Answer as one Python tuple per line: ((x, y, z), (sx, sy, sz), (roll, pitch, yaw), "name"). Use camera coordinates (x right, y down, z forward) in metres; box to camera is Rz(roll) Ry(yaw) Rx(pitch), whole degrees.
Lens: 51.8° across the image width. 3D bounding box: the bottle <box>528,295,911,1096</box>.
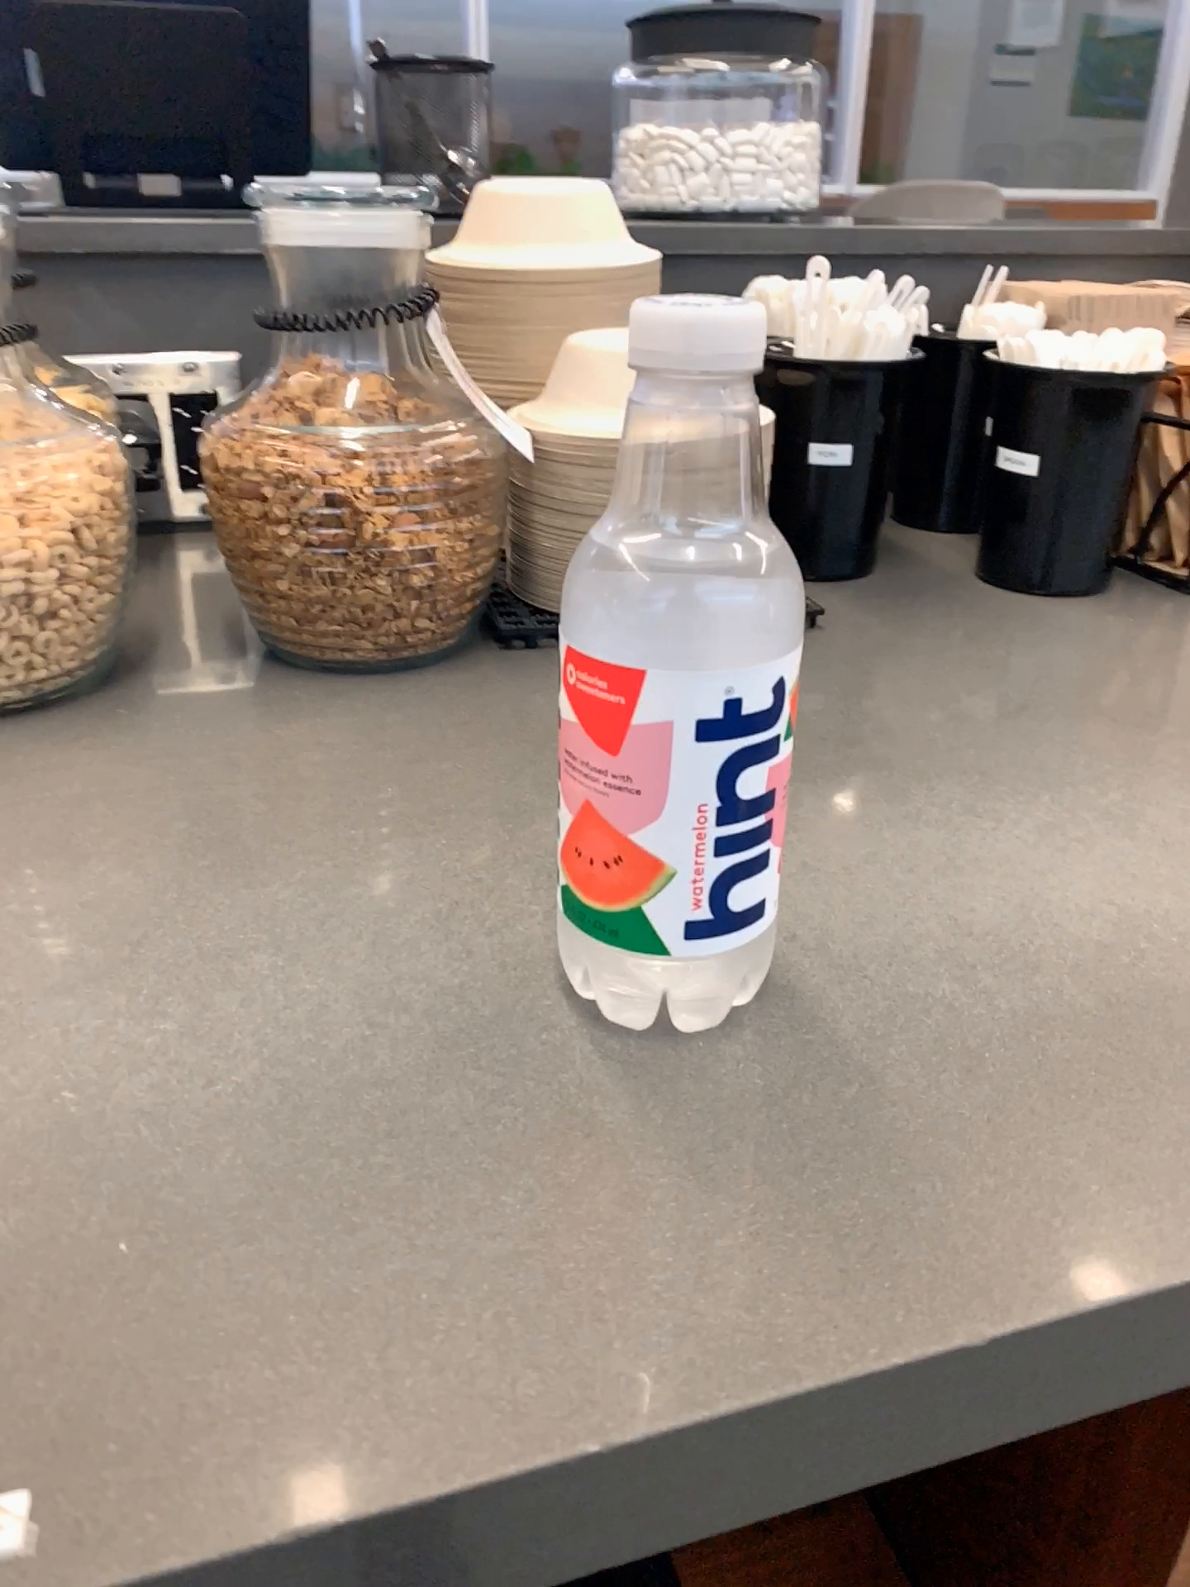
((0.030, -0.027, 0.339), (0.070, 0.199, 0.070), (1, 26, -1), "bottle")
